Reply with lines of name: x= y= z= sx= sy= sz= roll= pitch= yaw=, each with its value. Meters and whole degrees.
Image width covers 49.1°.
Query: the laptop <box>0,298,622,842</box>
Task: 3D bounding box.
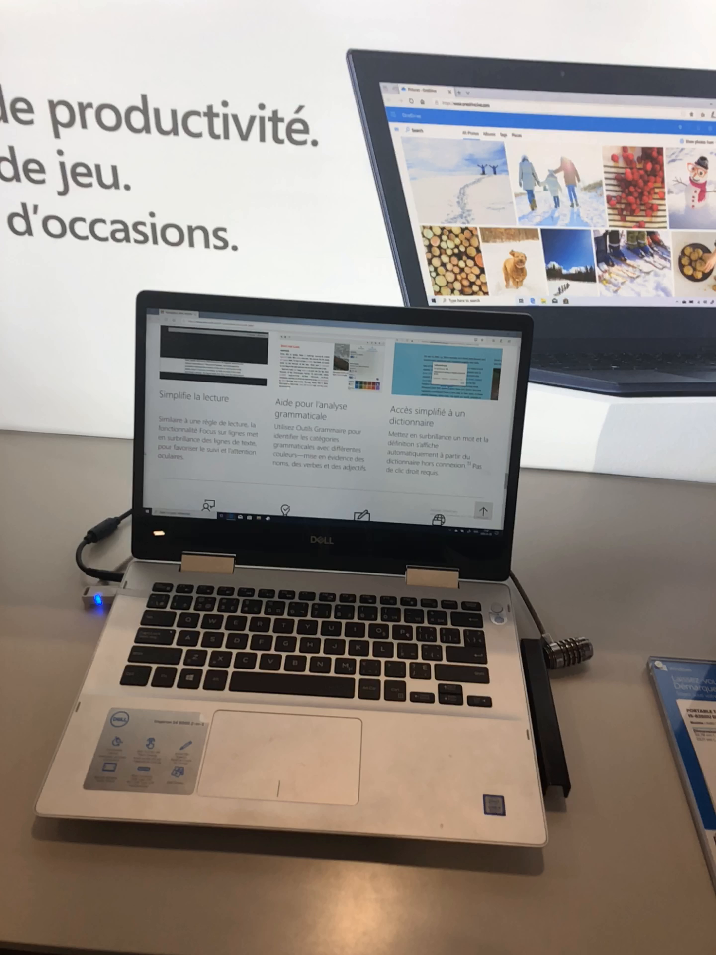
laptop: x=-0.030 y=0.040 z=0.569 sx=0.316 sy=0.193 sz=0.338 roll=3 pitch=38 yaw=1
